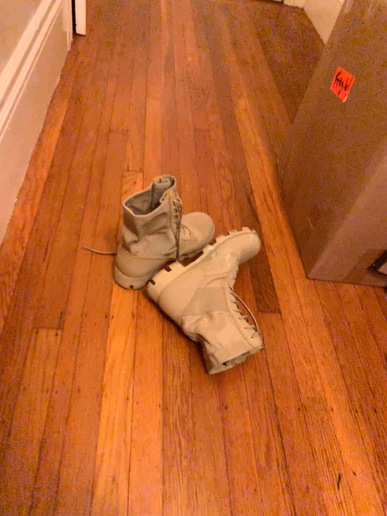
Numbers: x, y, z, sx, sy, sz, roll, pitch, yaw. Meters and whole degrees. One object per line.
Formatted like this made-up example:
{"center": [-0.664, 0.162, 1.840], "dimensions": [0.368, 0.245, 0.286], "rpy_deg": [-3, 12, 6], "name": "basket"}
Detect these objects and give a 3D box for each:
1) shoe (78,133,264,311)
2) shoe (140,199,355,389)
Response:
{"center": [-0.050, -0.084, 0.821], "dimensions": [0.301, 0.199, 0.190], "rpy_deg": [-30, 63, -32], "name": "shoe"}
{"center": [0.097, 0.045, 0.769], "dimensions": [0.311, 0.119, 0.251], "rpy_deg": [-26, 53, -31], "name": "shoe"}
